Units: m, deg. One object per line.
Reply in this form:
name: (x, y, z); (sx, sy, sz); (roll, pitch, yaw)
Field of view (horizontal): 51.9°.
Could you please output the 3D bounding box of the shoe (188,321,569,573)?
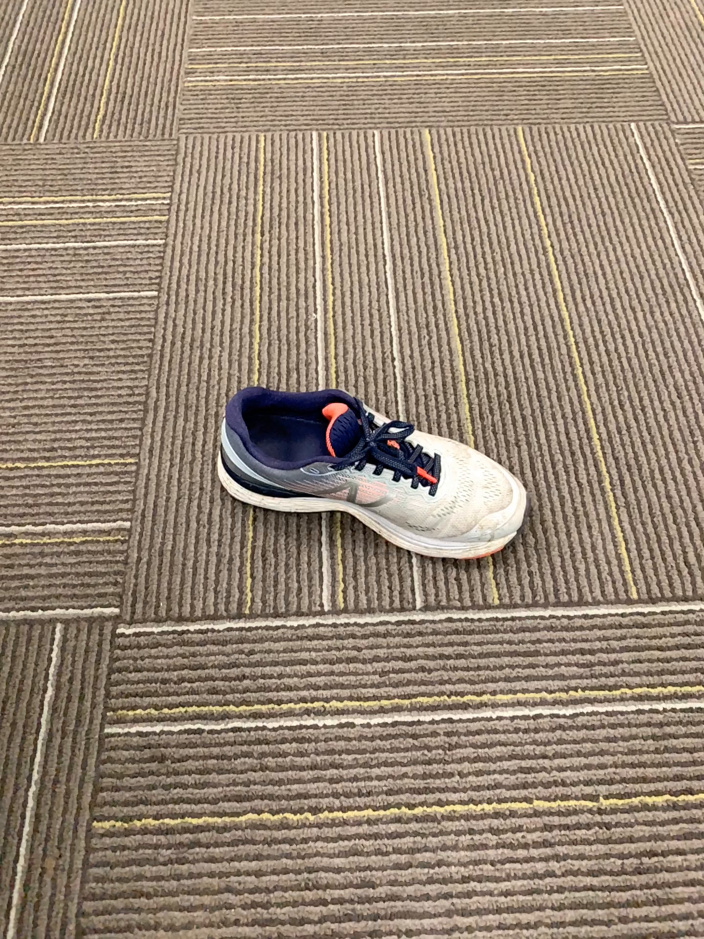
shoe: (0.023, -0.016, 0.578); (0.260, 0.120, 0.110); (11, 61, 6)
